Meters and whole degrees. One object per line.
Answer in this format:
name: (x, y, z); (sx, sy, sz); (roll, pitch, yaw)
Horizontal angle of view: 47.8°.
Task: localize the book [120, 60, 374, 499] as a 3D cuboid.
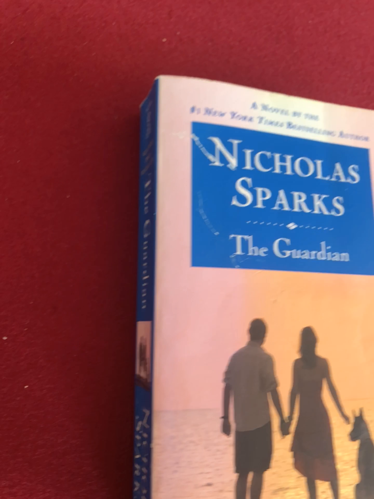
book: (0.036, 0.023, 0.162); (0.110, 0.030, 0.170); (5, 77, -16)
